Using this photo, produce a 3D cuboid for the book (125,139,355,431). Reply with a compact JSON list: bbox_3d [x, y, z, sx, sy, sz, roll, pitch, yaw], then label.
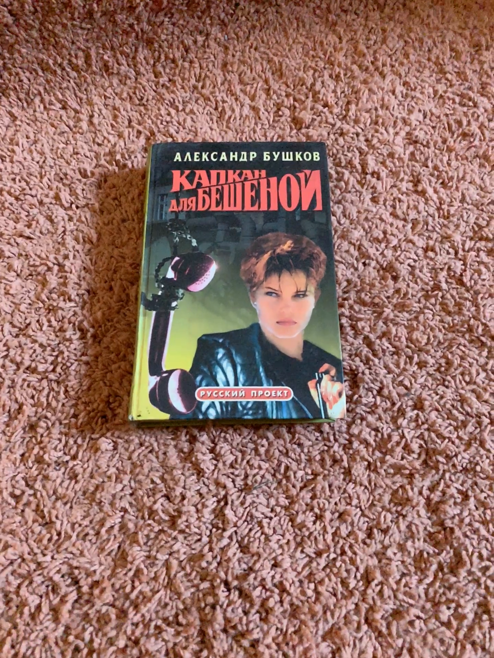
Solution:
[{"bbox_3d":[-0.005,-0.034,0.322,0.124,0.027,0.191,-1,69,0],"label":"book"}]
